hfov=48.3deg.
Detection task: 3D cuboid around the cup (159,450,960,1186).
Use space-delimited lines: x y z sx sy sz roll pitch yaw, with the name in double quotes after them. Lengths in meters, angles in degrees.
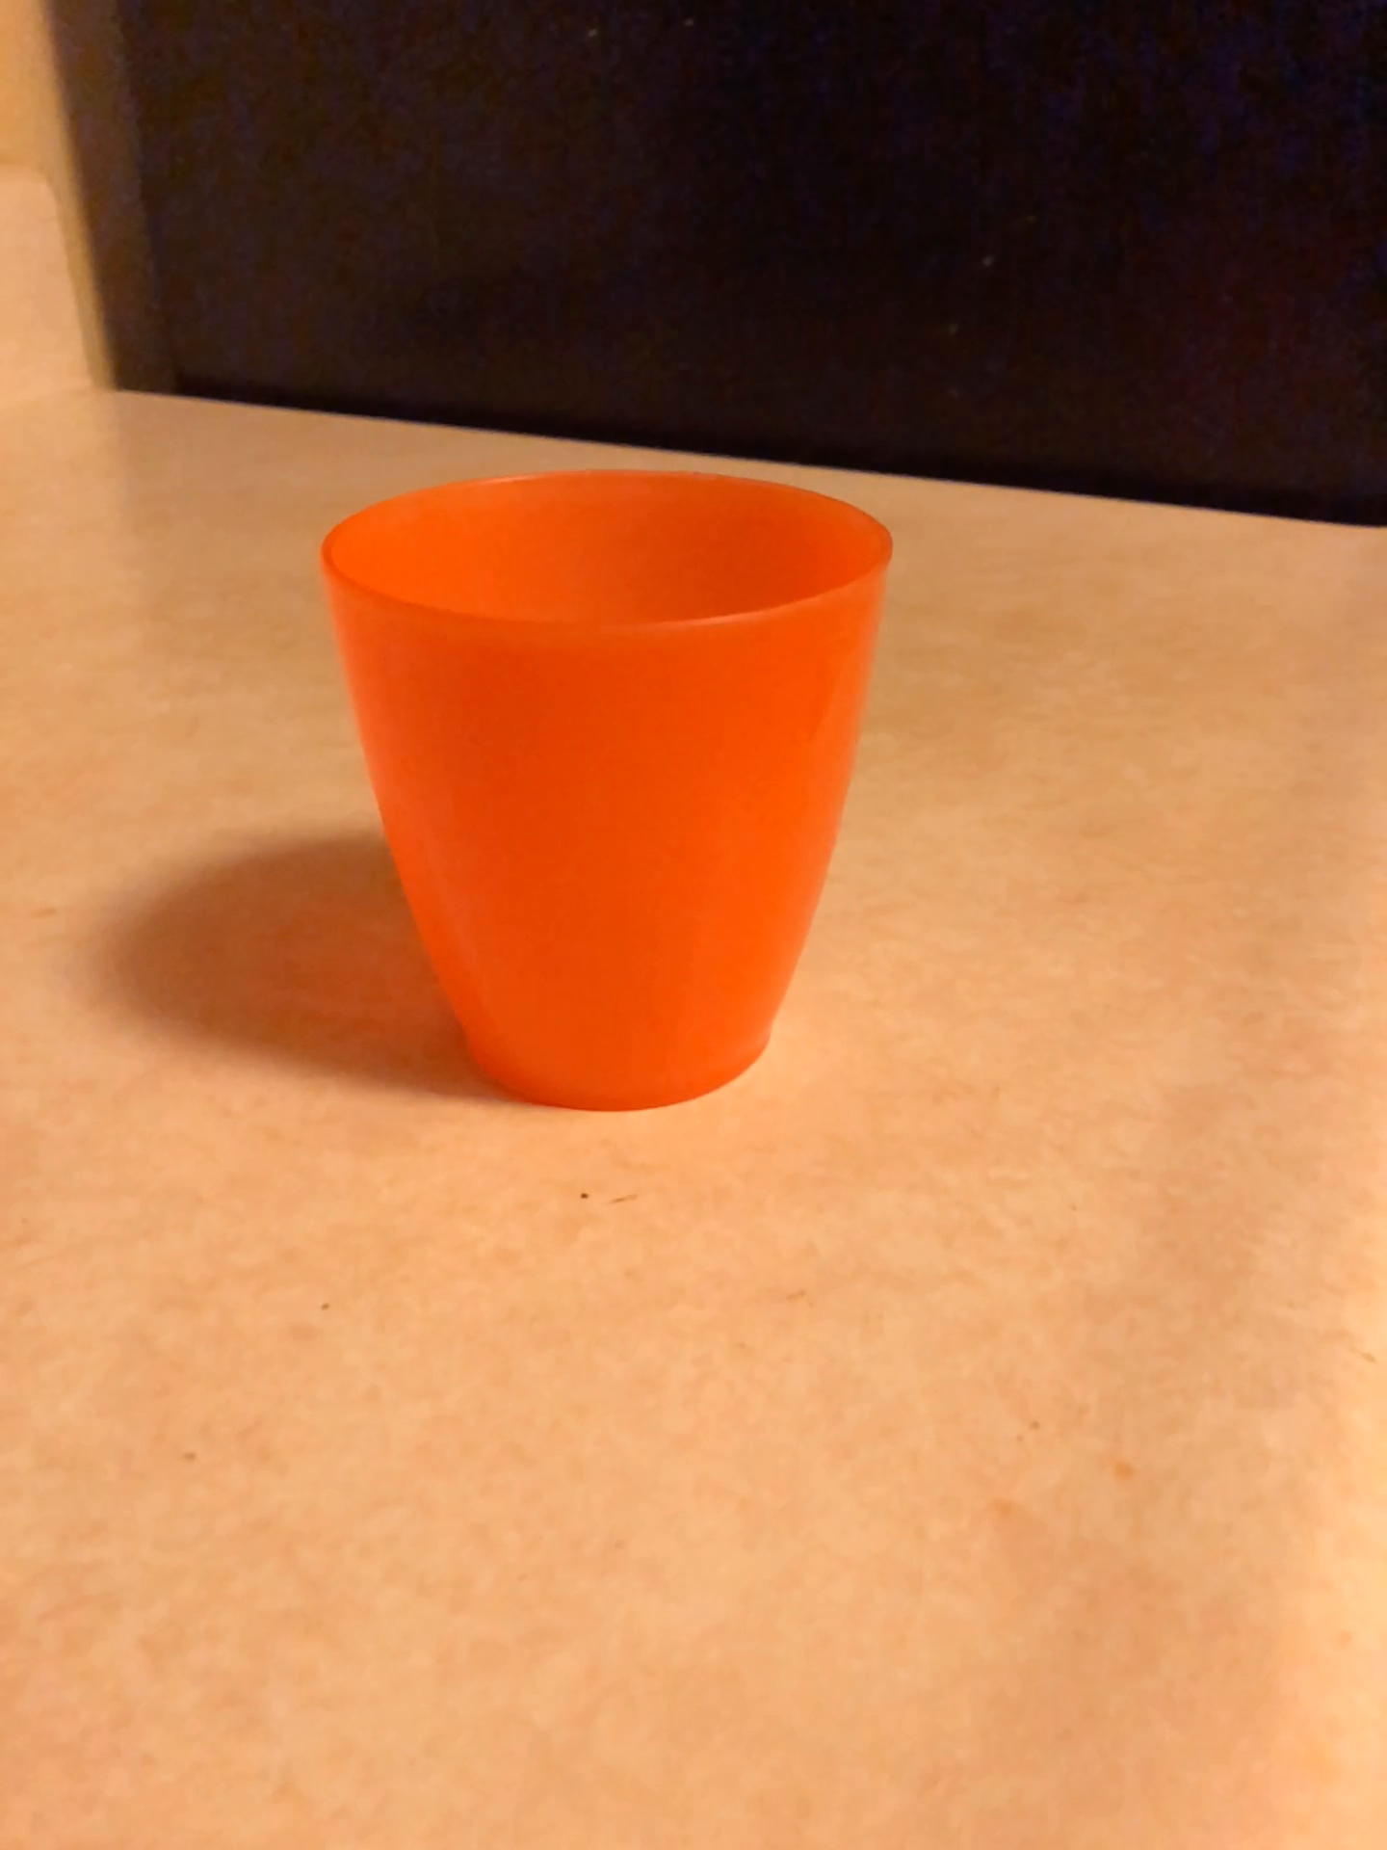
-0.013 -0.023 0.226 0.080 0.070 0.080 0 28 0 "cup"
